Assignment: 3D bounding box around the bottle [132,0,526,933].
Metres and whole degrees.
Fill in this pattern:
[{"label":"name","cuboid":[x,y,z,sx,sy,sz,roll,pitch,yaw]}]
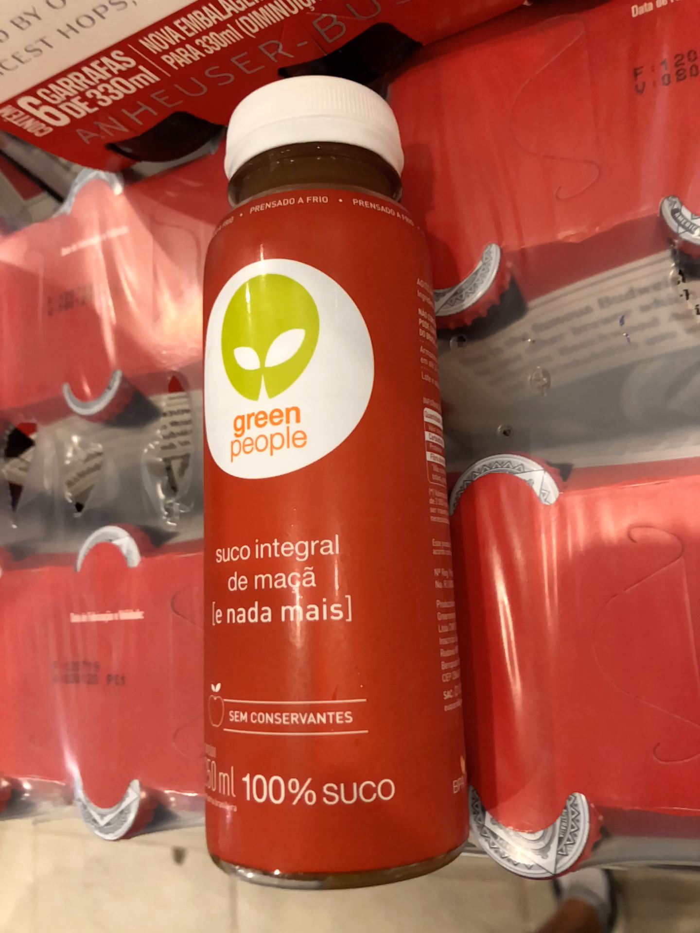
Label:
[{"label":"bottle","cuboid":[-0.007,-0.015,0.160,0.060,0.040,0.180,-8,79,30]}]
